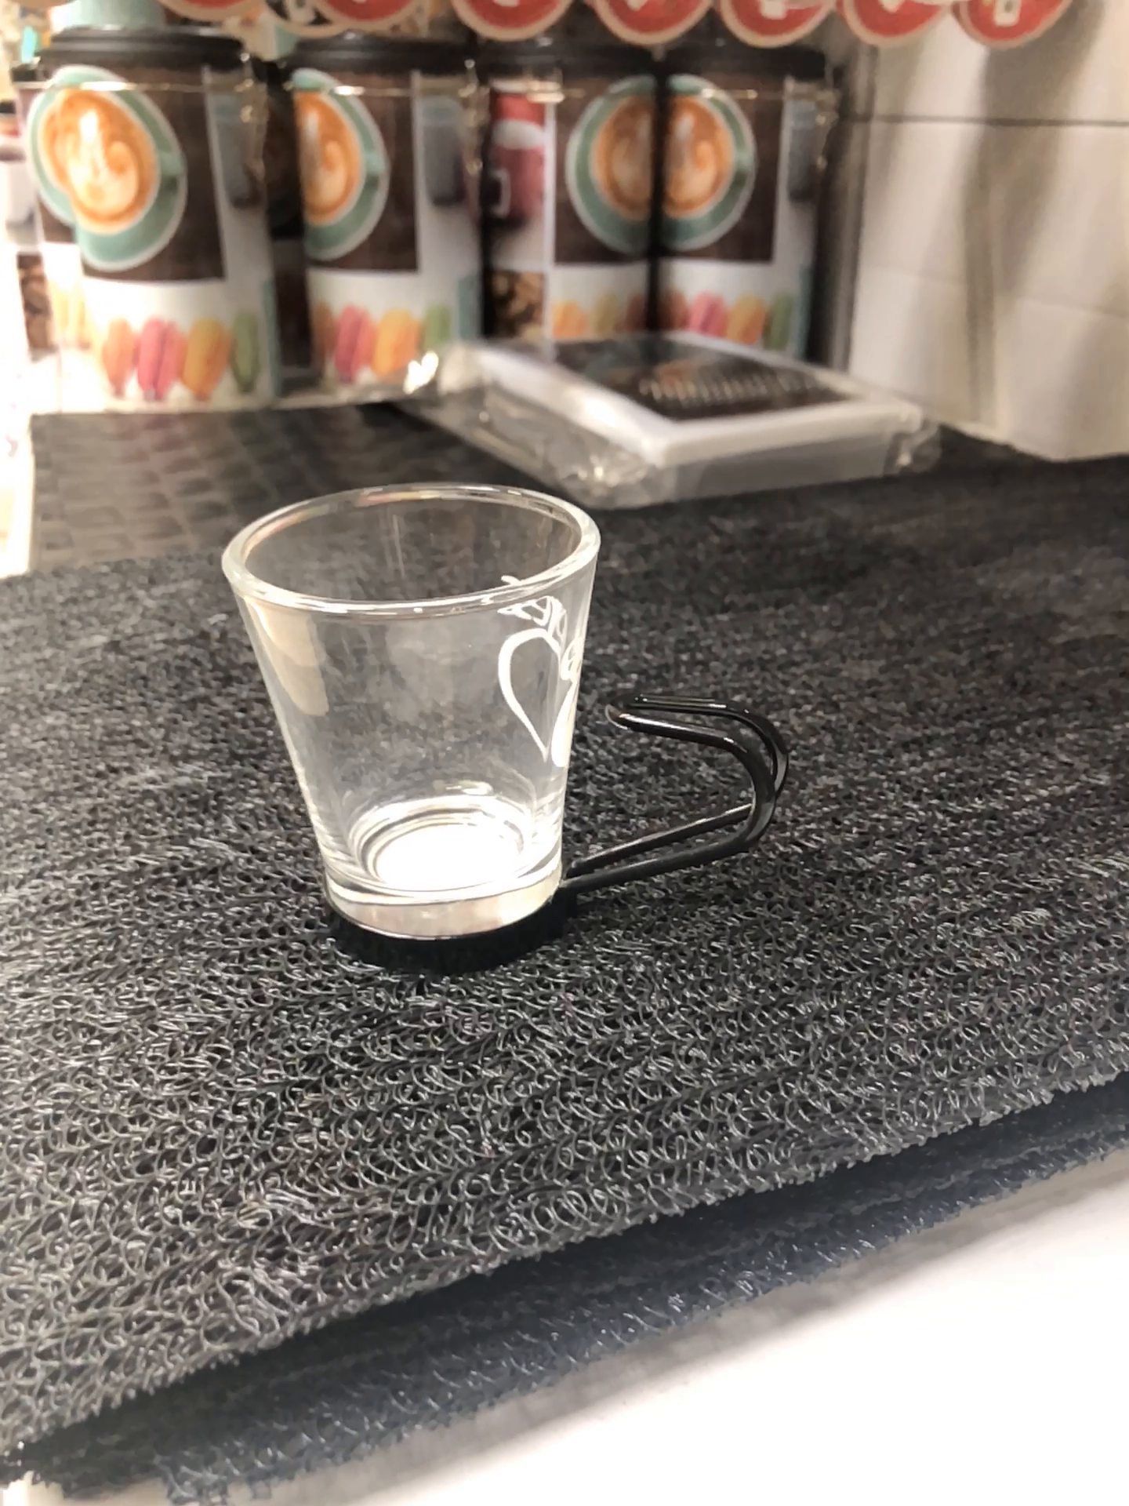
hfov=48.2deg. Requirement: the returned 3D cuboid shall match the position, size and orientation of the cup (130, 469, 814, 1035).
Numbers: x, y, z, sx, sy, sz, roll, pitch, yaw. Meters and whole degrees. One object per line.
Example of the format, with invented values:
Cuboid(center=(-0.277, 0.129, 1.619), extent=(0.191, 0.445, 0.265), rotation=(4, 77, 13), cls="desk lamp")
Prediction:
Cuboid(center=(-0.010, -0.007, 0.214), extent=(0.087, 0.059, 0.073), rotation=(9, 27, 18), cls="cup")
